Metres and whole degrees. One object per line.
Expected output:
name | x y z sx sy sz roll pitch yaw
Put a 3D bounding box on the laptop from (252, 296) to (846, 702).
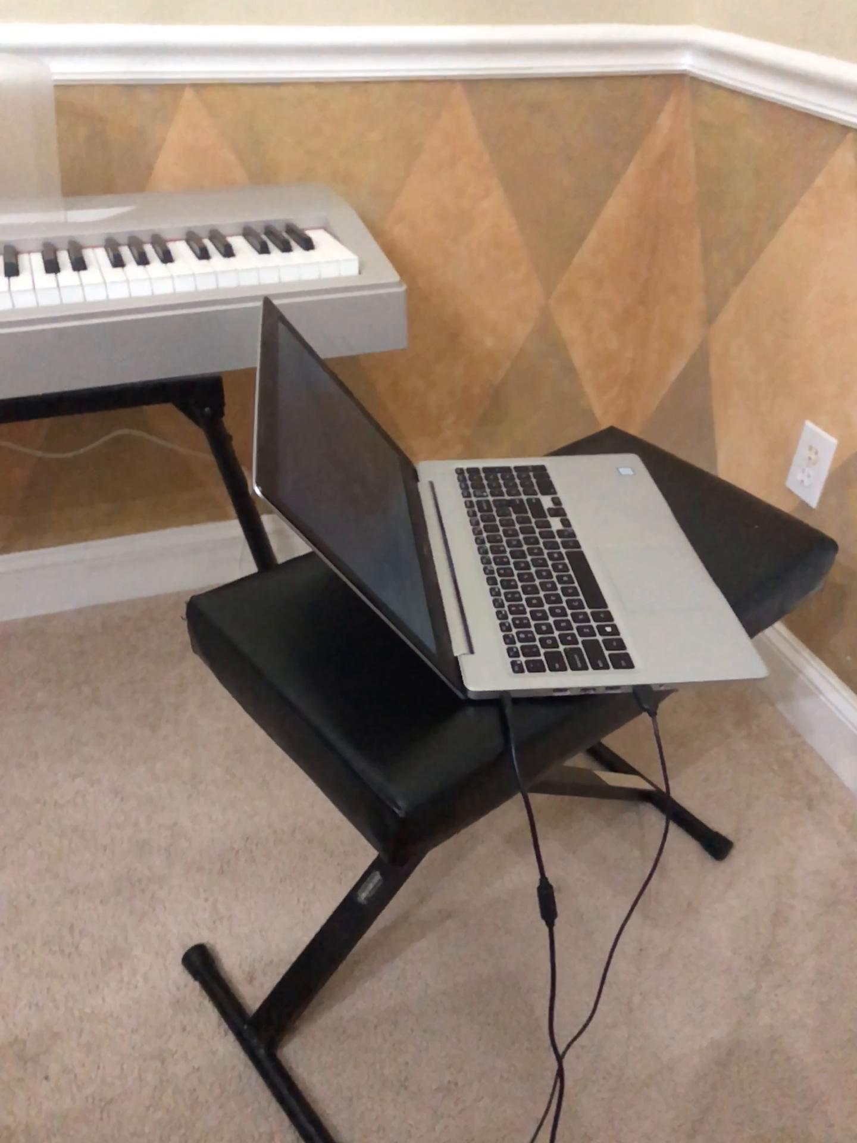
laptop | 0.062 -0.091 0.836 0.408 0.183 0.377 -2 35 -7
